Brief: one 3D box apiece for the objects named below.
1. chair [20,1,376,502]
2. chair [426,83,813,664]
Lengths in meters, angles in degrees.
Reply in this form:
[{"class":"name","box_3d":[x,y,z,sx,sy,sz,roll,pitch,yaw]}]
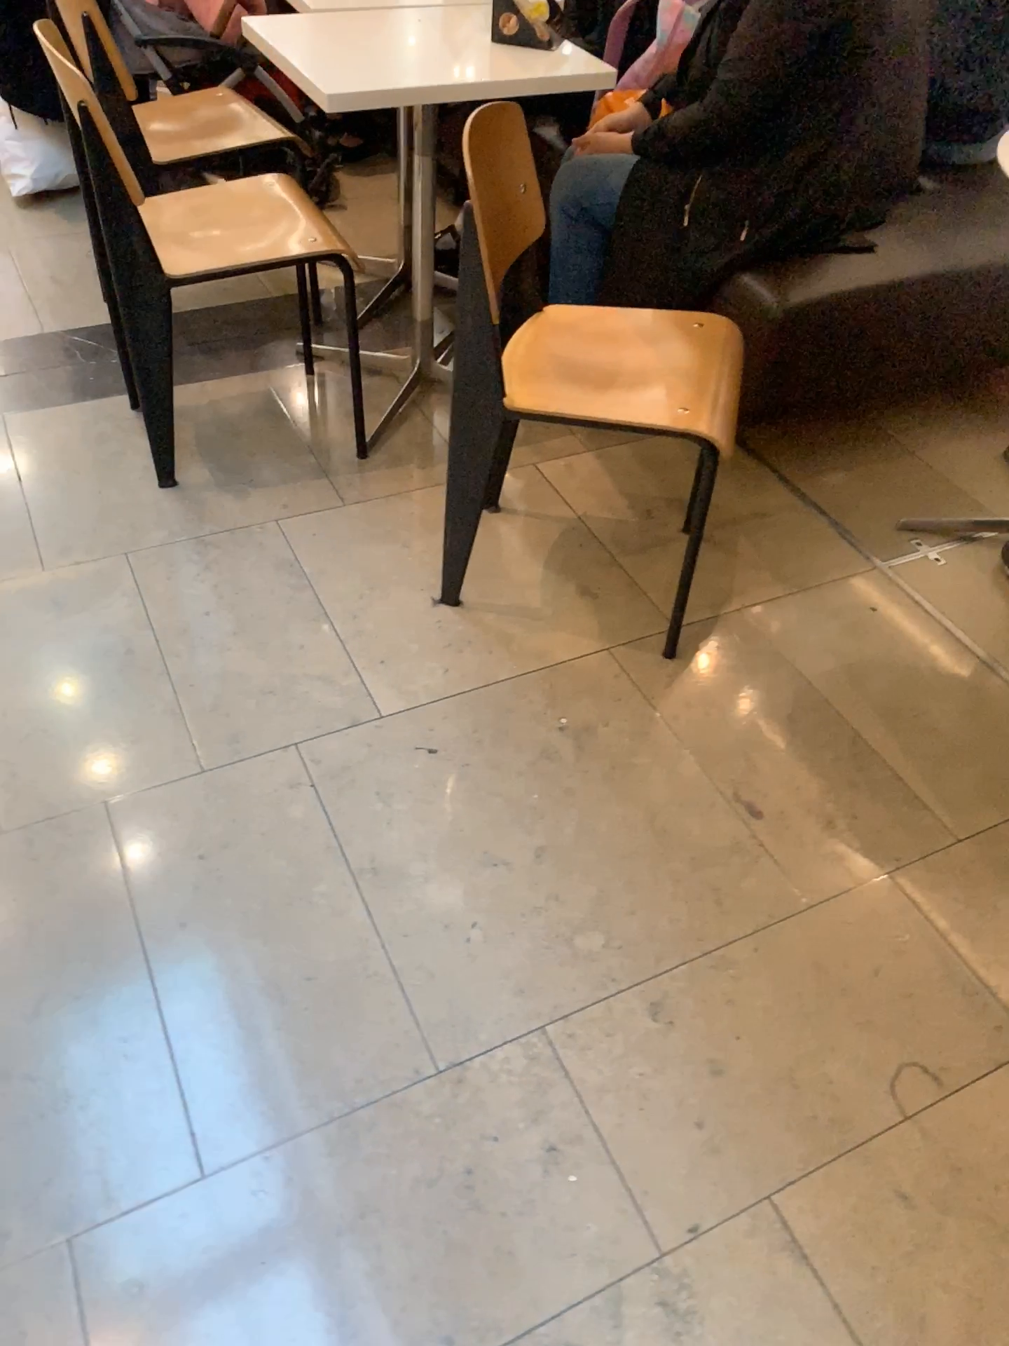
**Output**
[{"class":"chair","box_3d":[-0.571,-0.825,2.035,0.495,0.767,0.431,-16,48,-20]},{"class":"chair","box_3d":[0.167,-0.480,1.731,0.495,0.767,0.421,11,45,6]}]
